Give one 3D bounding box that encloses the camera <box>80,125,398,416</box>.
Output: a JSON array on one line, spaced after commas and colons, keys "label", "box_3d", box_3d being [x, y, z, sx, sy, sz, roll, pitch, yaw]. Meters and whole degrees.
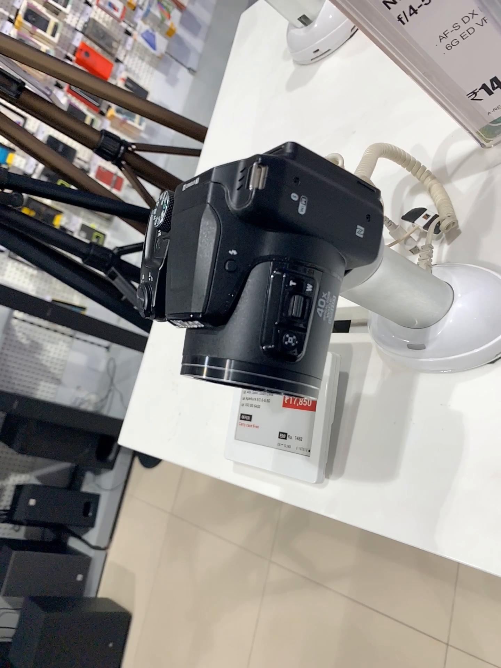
[{"label": "camera", "box_3d": [-0.010, -0.017, 0.221, 0.113, 0.070, 0.083, -1, 77, 51]}]
